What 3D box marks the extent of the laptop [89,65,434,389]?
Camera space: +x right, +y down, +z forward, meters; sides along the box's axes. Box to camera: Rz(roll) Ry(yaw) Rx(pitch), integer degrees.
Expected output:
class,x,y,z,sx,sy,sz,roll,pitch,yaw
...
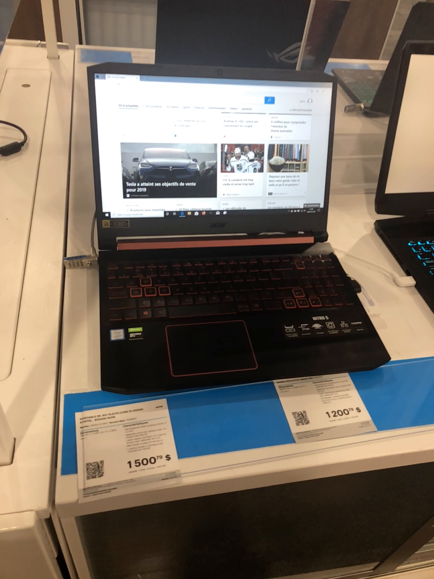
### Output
class,x,y,z,sx,sy,sz,roll,pitch,yaw
laptop,0.027,-0.104,0.618,0.357,0.211,0.360,-3,46,-12
